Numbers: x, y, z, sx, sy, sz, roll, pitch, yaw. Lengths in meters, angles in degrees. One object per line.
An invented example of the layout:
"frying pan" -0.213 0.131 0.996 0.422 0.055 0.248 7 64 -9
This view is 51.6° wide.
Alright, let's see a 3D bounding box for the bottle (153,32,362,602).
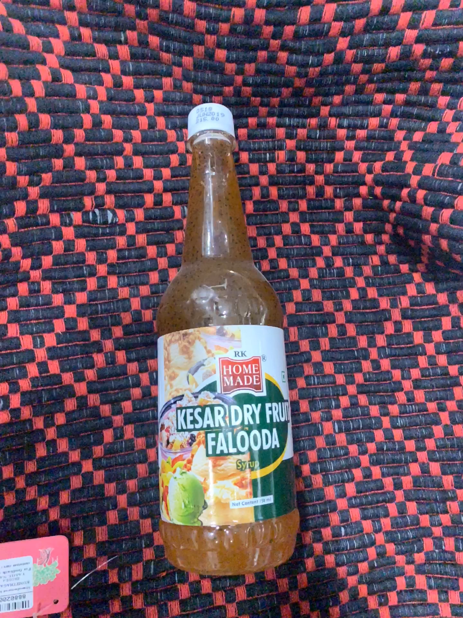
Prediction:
"bottle" 0.003 -0.006 0.255 0.080 0.070 0.260 -1 79 -10
